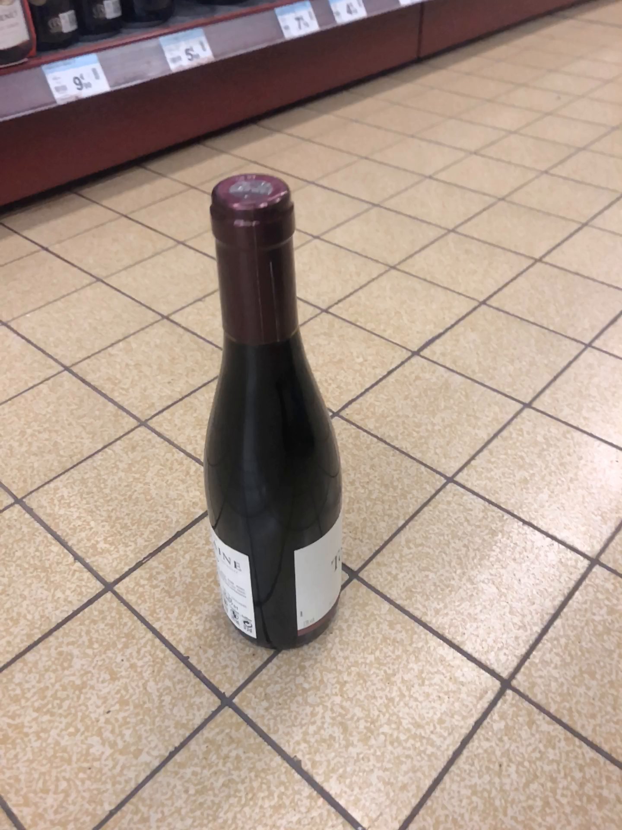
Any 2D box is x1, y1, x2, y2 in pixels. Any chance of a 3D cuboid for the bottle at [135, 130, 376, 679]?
[{"bbox_3d":[-0.020,0.012,0.305,0.070,0.238,0.080,-8,40,-7],"label":"bottle"}]
